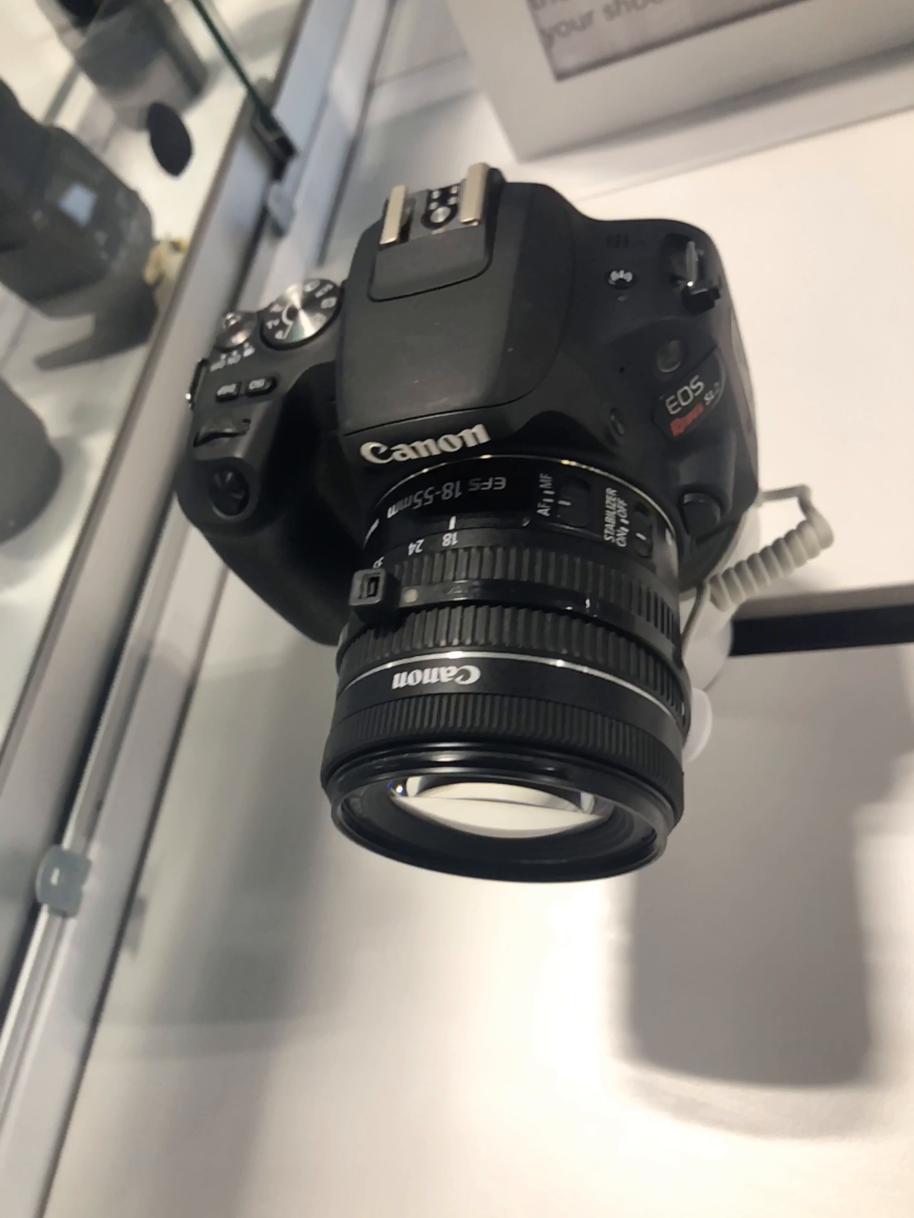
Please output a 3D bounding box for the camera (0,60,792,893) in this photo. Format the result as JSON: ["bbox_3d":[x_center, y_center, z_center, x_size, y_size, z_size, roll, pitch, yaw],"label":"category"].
[{"bbox_3d":[-0.006,-0.013,0.207,0.123,0.099,0.110,-7,57,25],"label":"camera"}]
